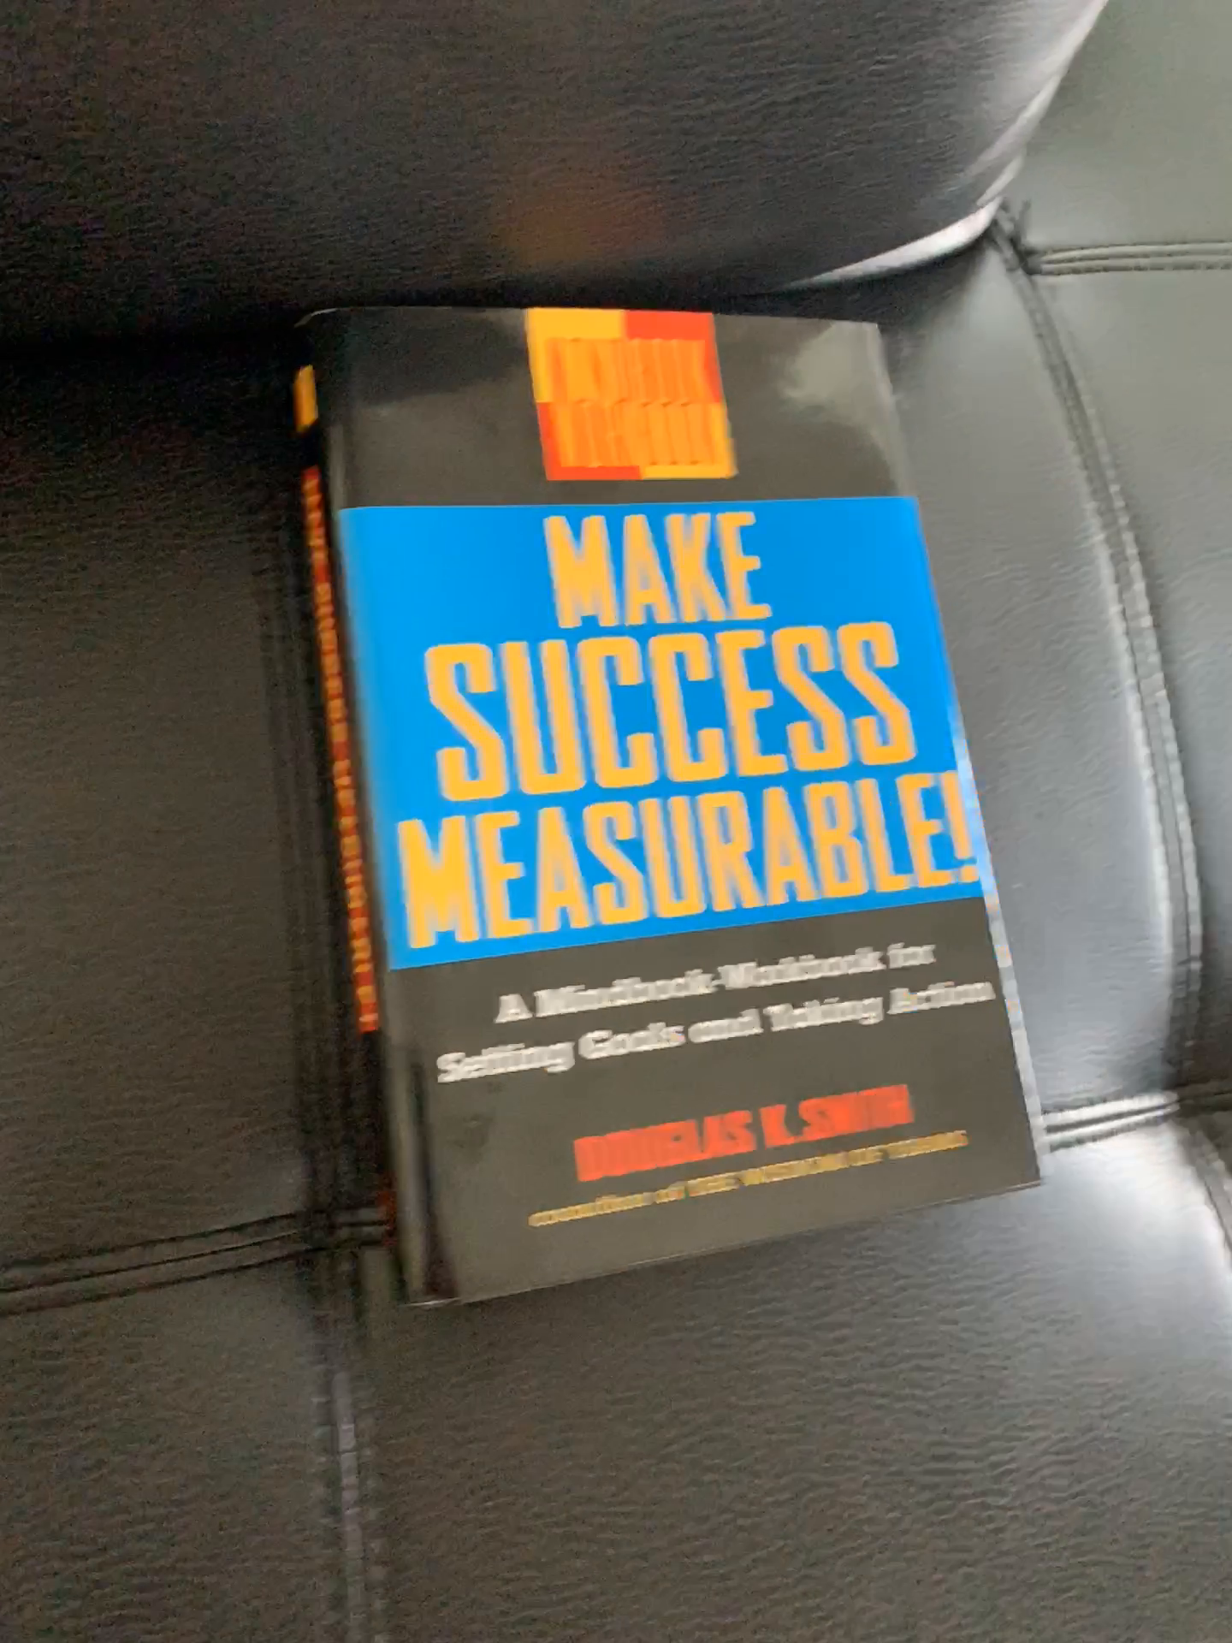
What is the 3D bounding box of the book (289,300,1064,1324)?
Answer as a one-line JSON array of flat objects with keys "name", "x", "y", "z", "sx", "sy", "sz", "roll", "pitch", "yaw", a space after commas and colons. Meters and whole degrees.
[{"name": "book", "x": 0.012, "y": -0.015, "z": 0.328, "sx": 0.164, "sy": 0.030, "sz": 0.240, "roll": -5, "pitch": 79, "yaw": -16}]
